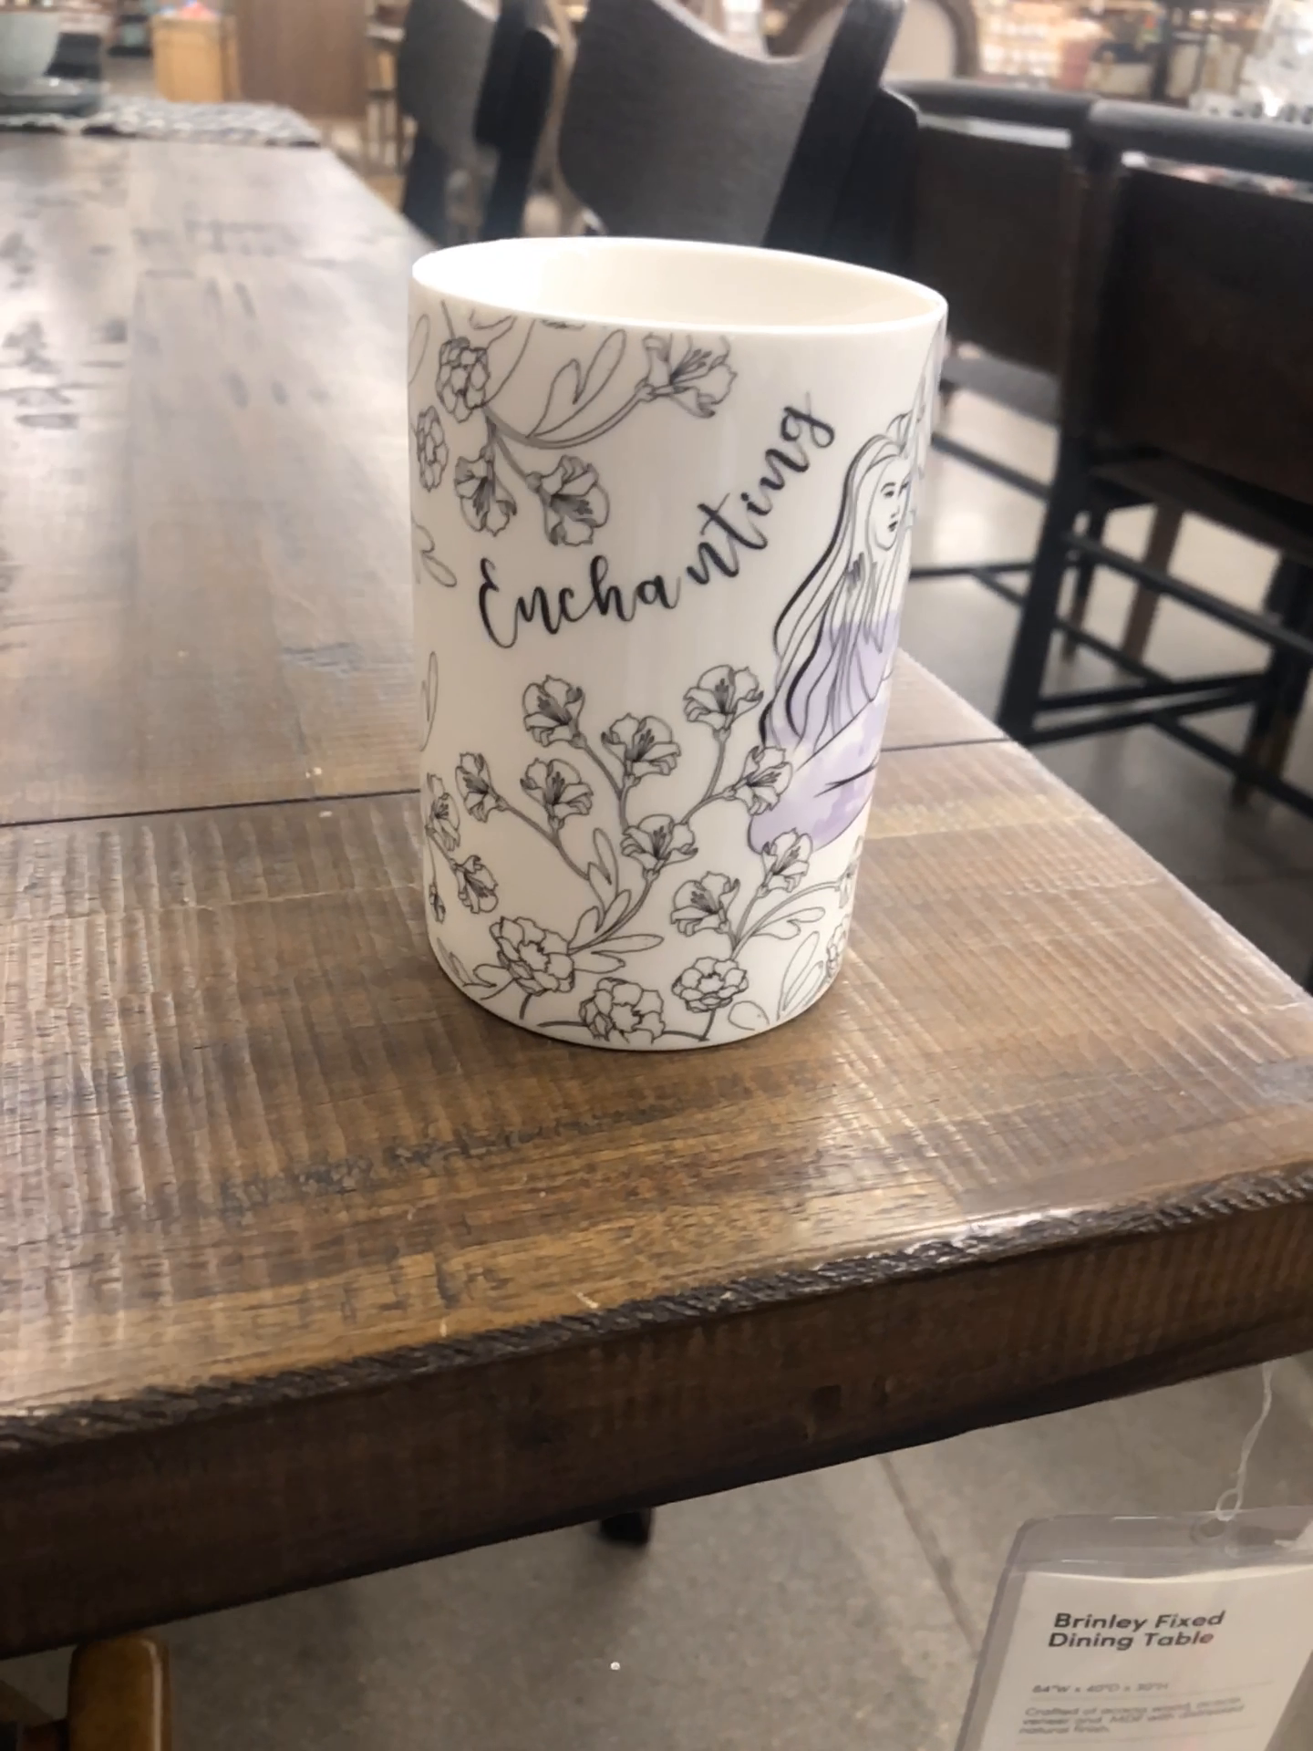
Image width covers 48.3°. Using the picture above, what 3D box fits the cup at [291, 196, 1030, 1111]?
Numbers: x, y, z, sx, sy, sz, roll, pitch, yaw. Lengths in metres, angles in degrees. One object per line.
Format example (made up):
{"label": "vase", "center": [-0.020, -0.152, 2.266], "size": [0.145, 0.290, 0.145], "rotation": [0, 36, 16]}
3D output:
{"label": "cup", "center": [0.008, -0.049, 0.256], "size": [0.082, 0.111, 0.122], "rotation": [12, 31, 14]}
